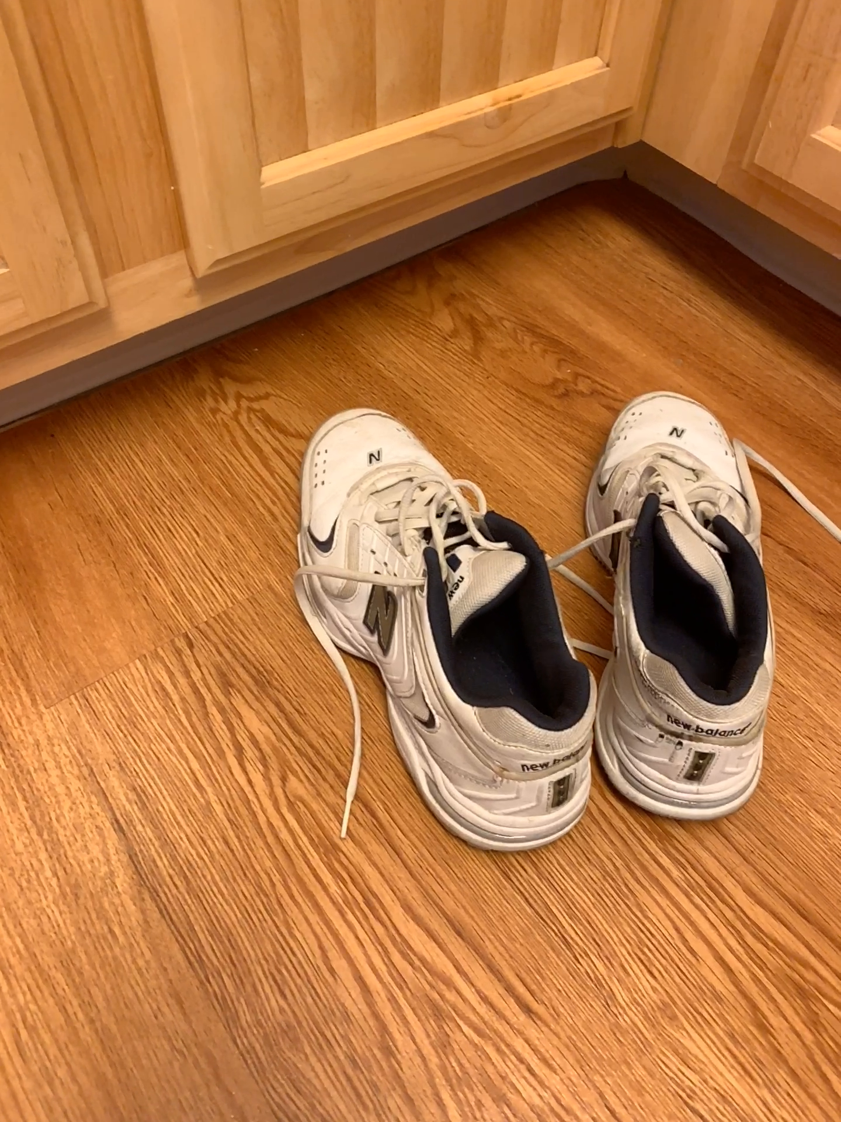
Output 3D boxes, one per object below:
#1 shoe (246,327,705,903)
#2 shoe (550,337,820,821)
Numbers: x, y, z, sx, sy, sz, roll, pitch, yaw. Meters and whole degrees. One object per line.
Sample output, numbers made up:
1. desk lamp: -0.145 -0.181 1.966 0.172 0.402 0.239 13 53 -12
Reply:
1. shoe: 0.009 0.013 0.469 0.110 0.110 0.281 -19 56 -16
2. shoe: 0.147 -0.001 0.539 0.110 0.110 0.281 6 53 2
